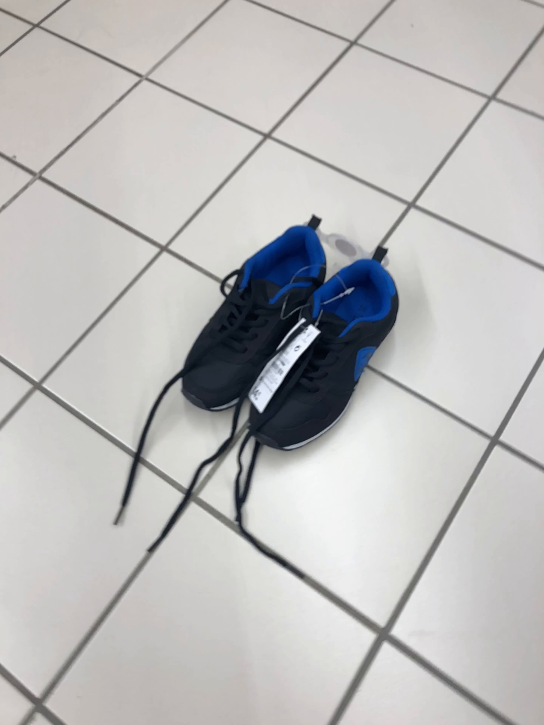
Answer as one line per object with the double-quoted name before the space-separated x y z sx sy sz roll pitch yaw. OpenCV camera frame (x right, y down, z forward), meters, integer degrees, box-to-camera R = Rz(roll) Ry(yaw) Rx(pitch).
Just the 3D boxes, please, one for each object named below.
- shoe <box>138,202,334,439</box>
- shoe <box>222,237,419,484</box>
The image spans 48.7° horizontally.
"shoe" -0.026 -0.043 0.583 0.075 0.082 0.208 29 69 16
"shoe" 0.049 -0.004 0.561 0.075 0.082 0.208 29 69 16
